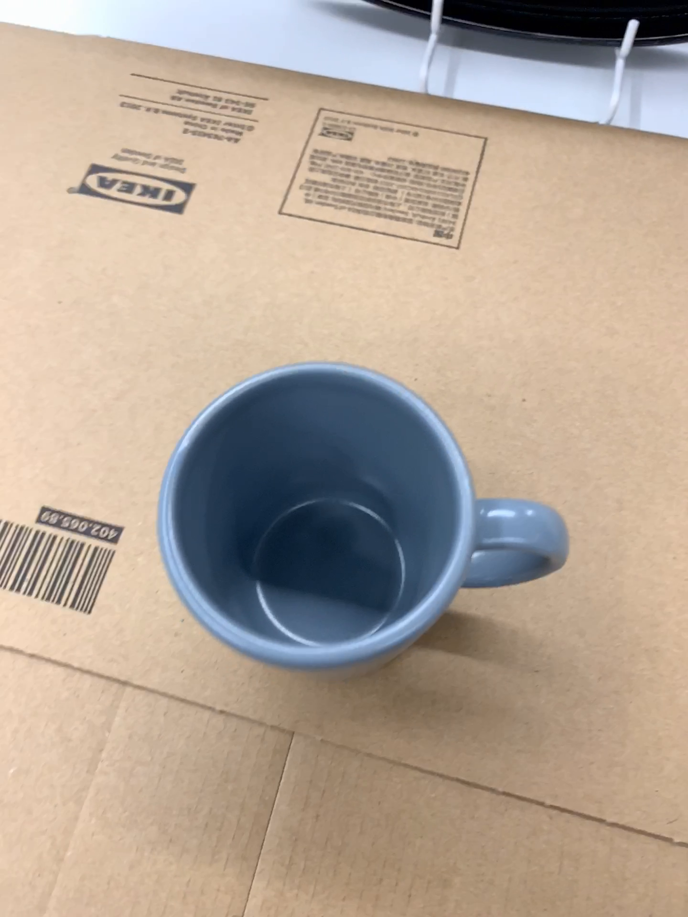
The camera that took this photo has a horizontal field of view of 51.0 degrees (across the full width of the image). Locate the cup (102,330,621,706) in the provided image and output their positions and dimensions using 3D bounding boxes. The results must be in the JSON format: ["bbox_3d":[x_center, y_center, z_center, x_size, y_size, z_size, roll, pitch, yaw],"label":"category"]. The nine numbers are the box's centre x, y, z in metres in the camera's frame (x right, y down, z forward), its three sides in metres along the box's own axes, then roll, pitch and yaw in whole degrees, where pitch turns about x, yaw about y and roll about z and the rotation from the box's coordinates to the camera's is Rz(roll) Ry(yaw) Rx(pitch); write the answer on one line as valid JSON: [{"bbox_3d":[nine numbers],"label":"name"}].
[{"bbox_3d":[0.003,0.016,0.151,0.080,0.060,0.060,1,65,1],"label":"cup"}]
